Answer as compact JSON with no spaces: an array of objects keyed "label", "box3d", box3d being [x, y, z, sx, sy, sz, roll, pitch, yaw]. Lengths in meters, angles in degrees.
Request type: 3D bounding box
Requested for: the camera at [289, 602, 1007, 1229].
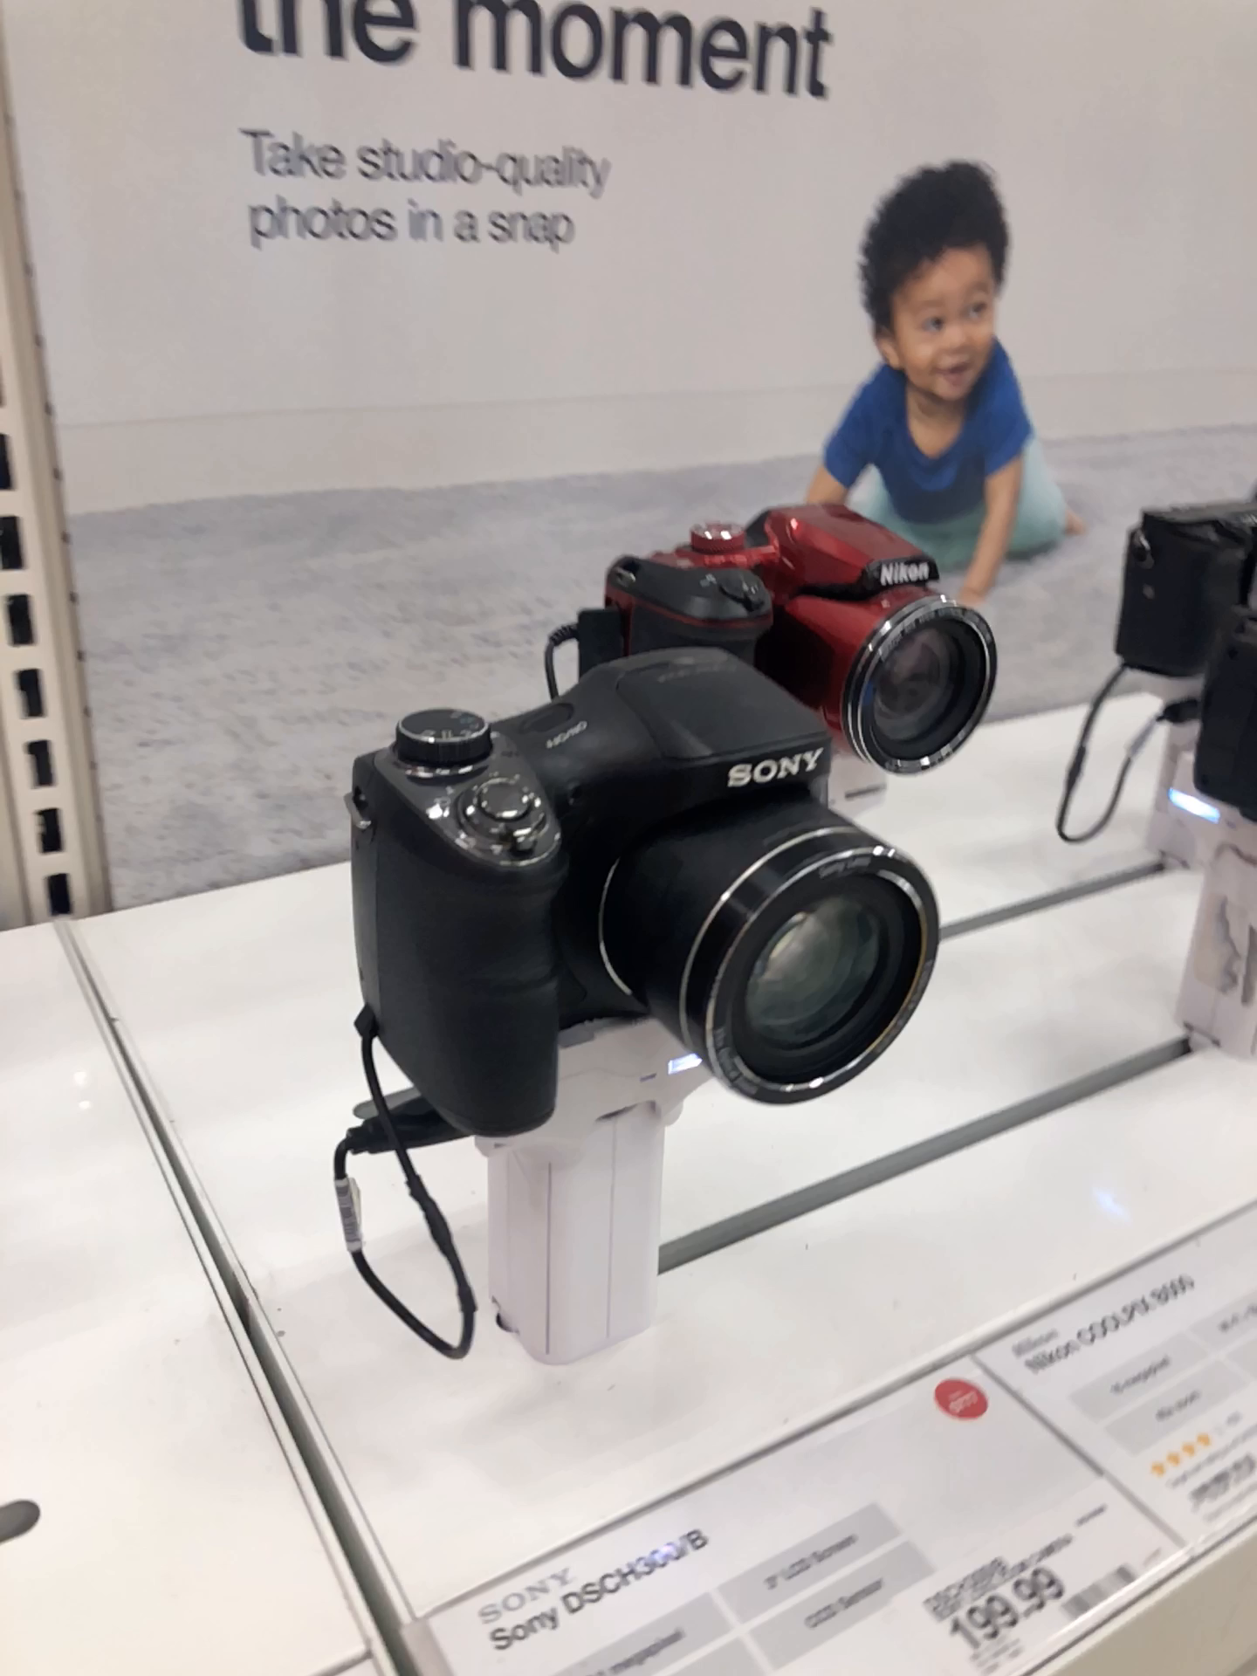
[{"label":"camera","box3d":[0.002,0.007,0.324,0.130,0.090,0.090,-12,29,-29]}]
